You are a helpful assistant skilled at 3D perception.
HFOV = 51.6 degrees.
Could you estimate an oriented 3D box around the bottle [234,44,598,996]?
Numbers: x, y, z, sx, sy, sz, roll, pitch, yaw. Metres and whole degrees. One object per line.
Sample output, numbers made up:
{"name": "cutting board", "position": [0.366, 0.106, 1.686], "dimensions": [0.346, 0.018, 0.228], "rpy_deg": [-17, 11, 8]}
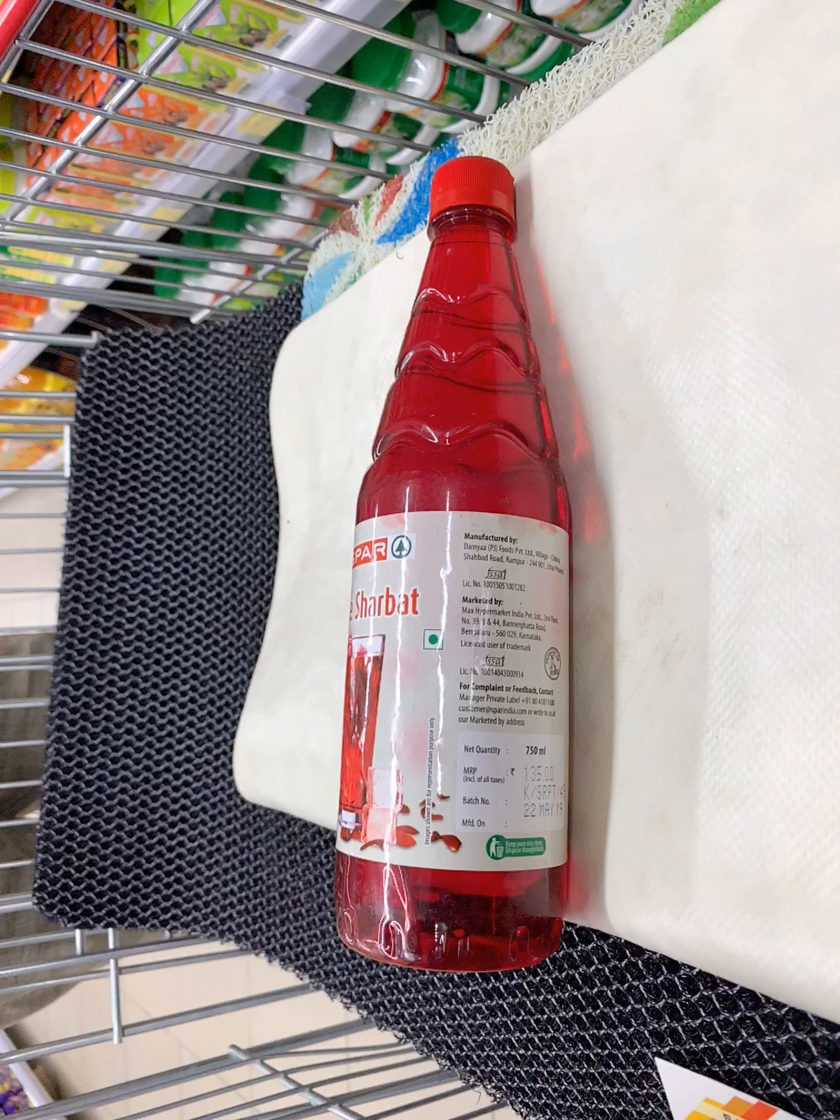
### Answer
{"name": "bottle", "position": [0.000, -0.011, 0.252], "dimensions": [0.070, 0.070, 0.230], "rpy_deg": [-14, 71, 58]}
